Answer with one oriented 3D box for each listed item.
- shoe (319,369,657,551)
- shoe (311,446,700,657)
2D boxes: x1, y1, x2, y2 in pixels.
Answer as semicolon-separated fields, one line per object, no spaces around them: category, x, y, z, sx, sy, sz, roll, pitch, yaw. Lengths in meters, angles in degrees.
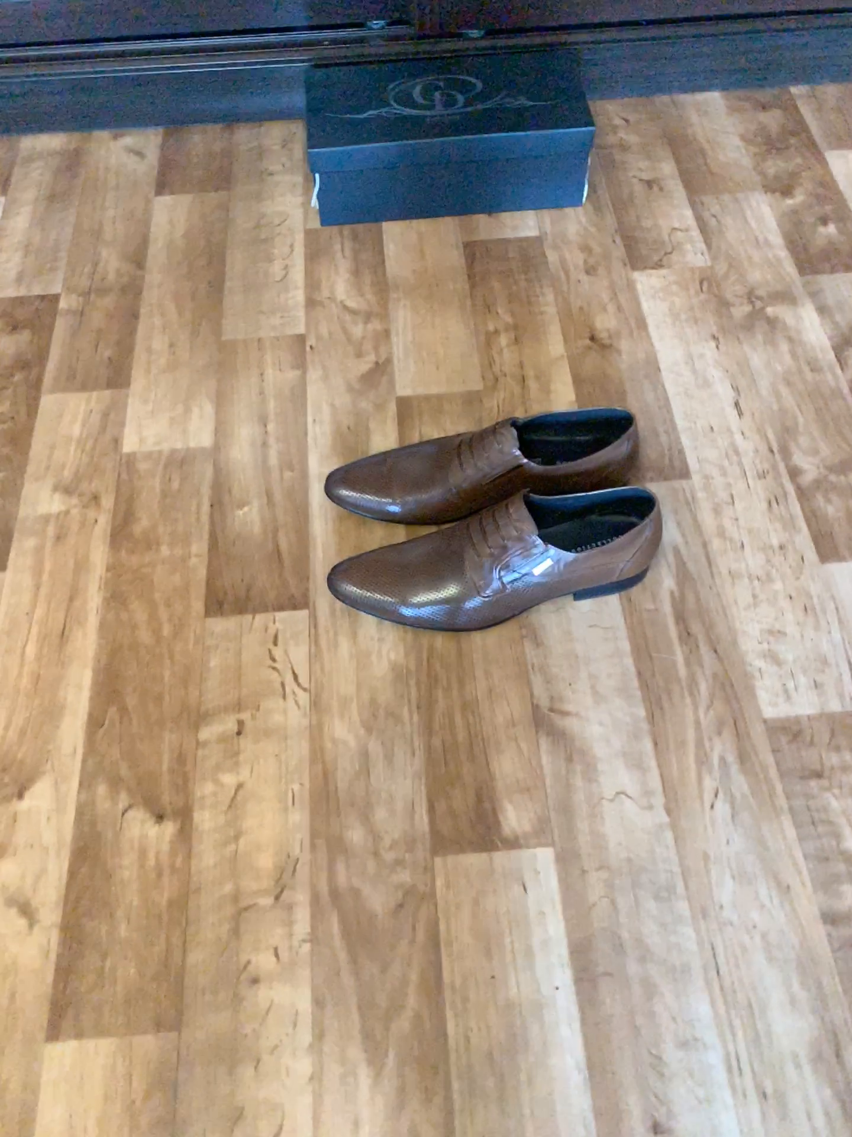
shoe;0.054;-0.104;0.848;0.300;0.120;0.100;-5;59;-1
shoe;0.064;-0.014;0.771;0.310;0.100;0.110;-8;59;-3
